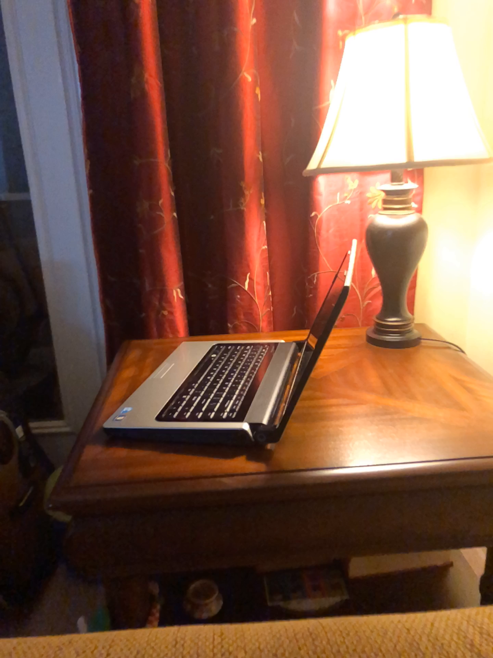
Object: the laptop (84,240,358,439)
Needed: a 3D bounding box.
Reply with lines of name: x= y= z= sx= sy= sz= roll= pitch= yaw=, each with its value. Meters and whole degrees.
laptop: x=-0.002 y=-0.013 z=0.883 sx=0.350 sy=0.204 sz=0.363 roll=1 pitch=18 yaw=12
